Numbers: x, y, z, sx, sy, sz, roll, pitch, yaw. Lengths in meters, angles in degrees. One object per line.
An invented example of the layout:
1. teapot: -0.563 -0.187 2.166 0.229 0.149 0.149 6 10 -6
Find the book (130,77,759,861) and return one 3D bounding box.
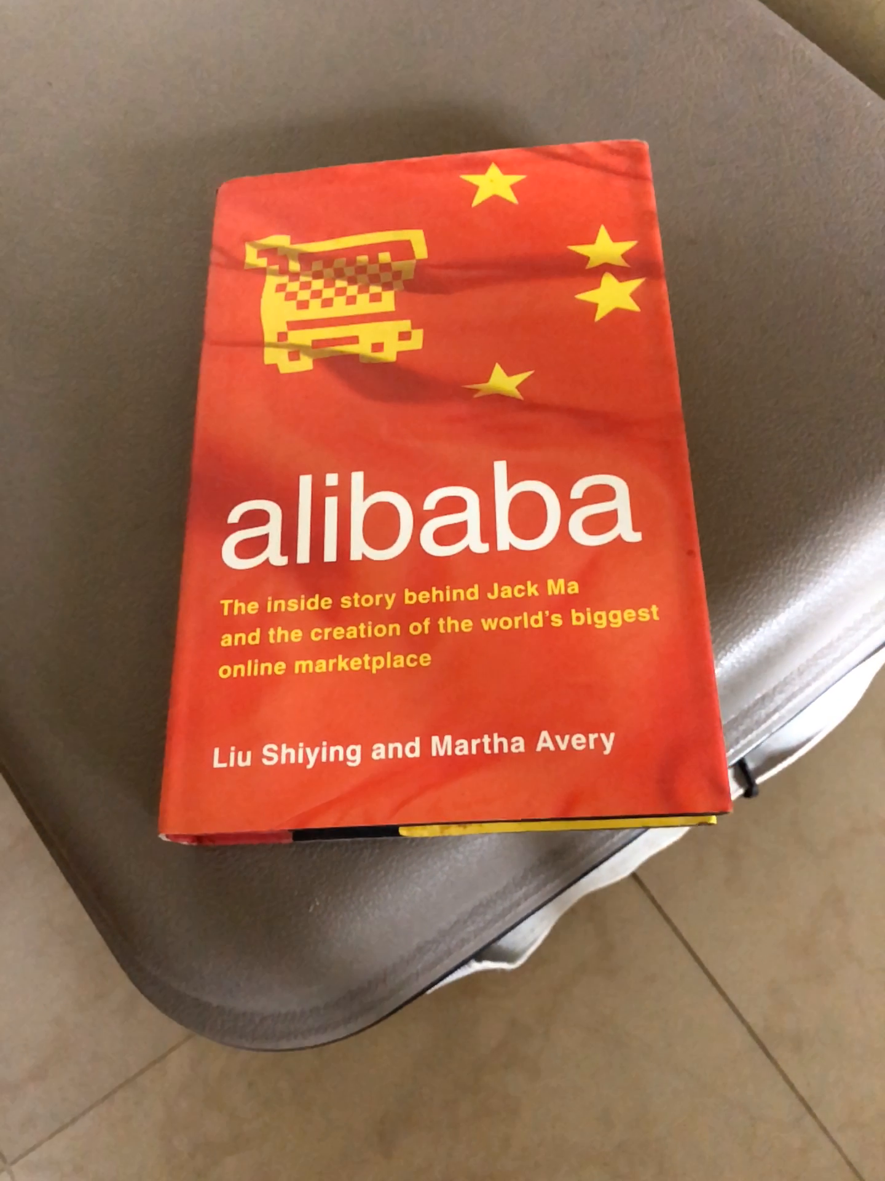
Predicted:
1. book: -0.005 -0.052 0.321 0.160 0.040 0.261 -3 67 0
